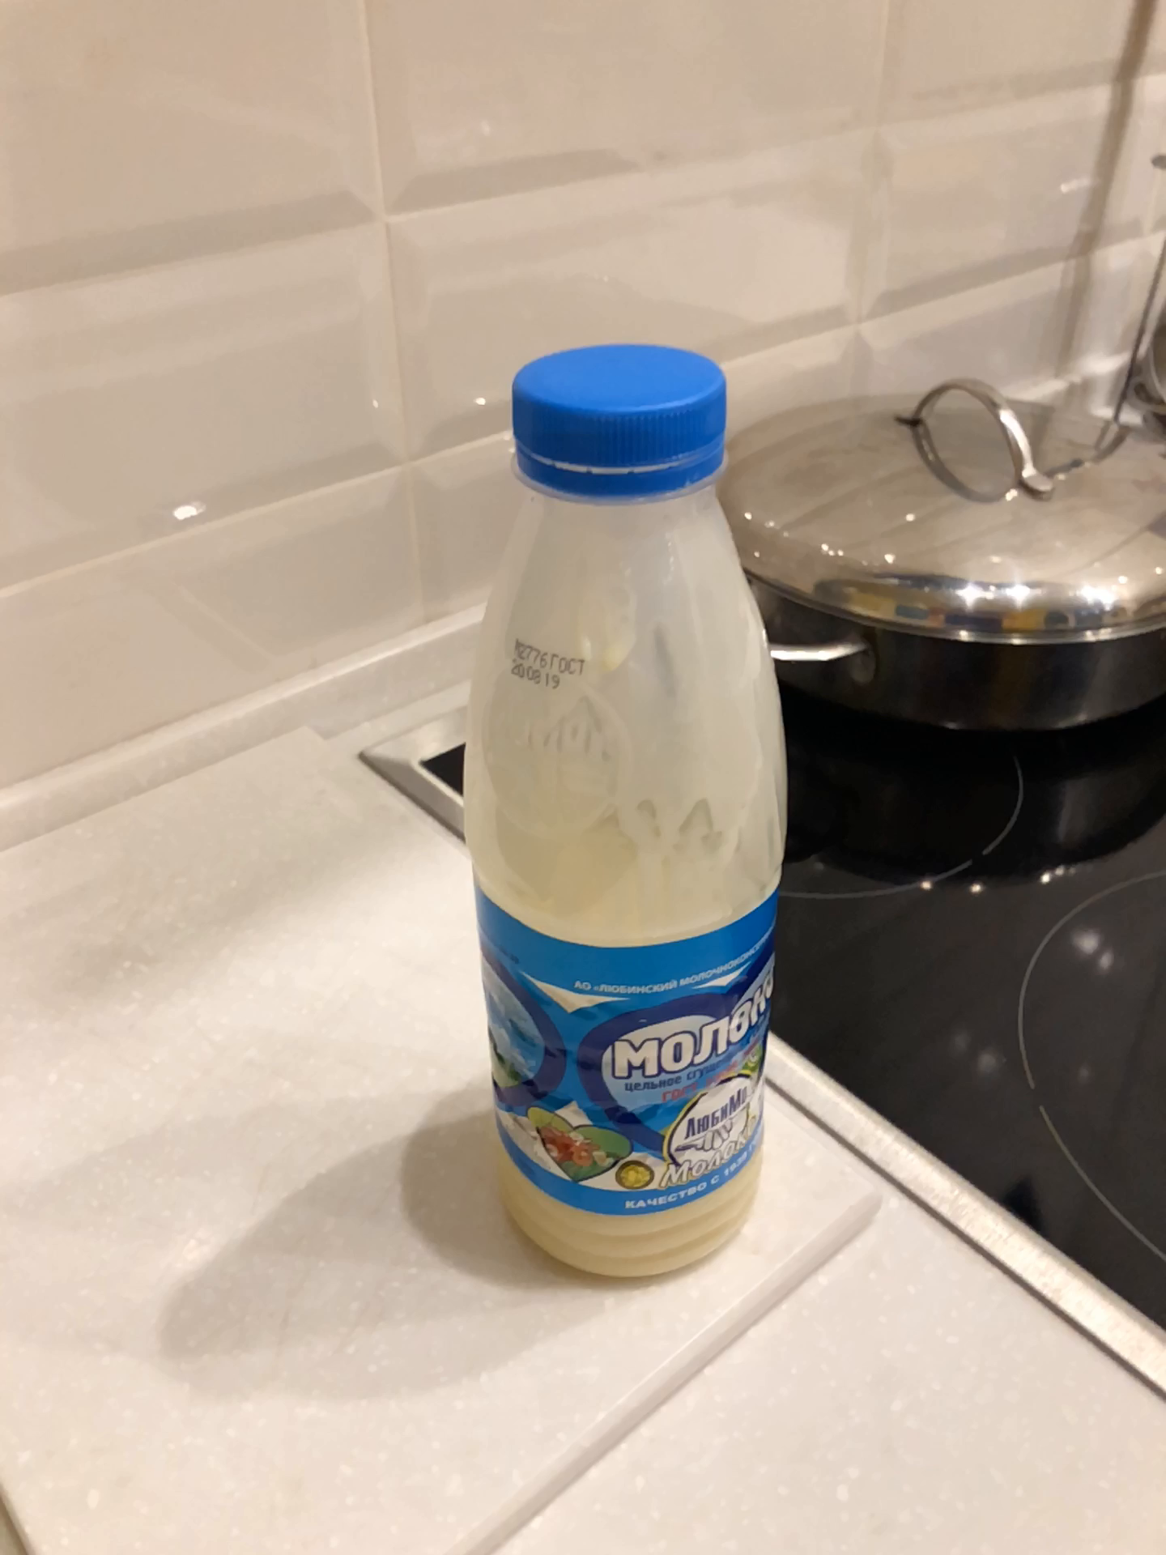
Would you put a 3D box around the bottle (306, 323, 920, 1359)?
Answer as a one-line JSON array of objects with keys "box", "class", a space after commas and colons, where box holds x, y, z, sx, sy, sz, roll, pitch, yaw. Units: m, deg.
[{"box": [0.006, 0.020, 0.297, 0.080, 0.213, 0.080, -1, 35, 0], "class": "bottle"}]
